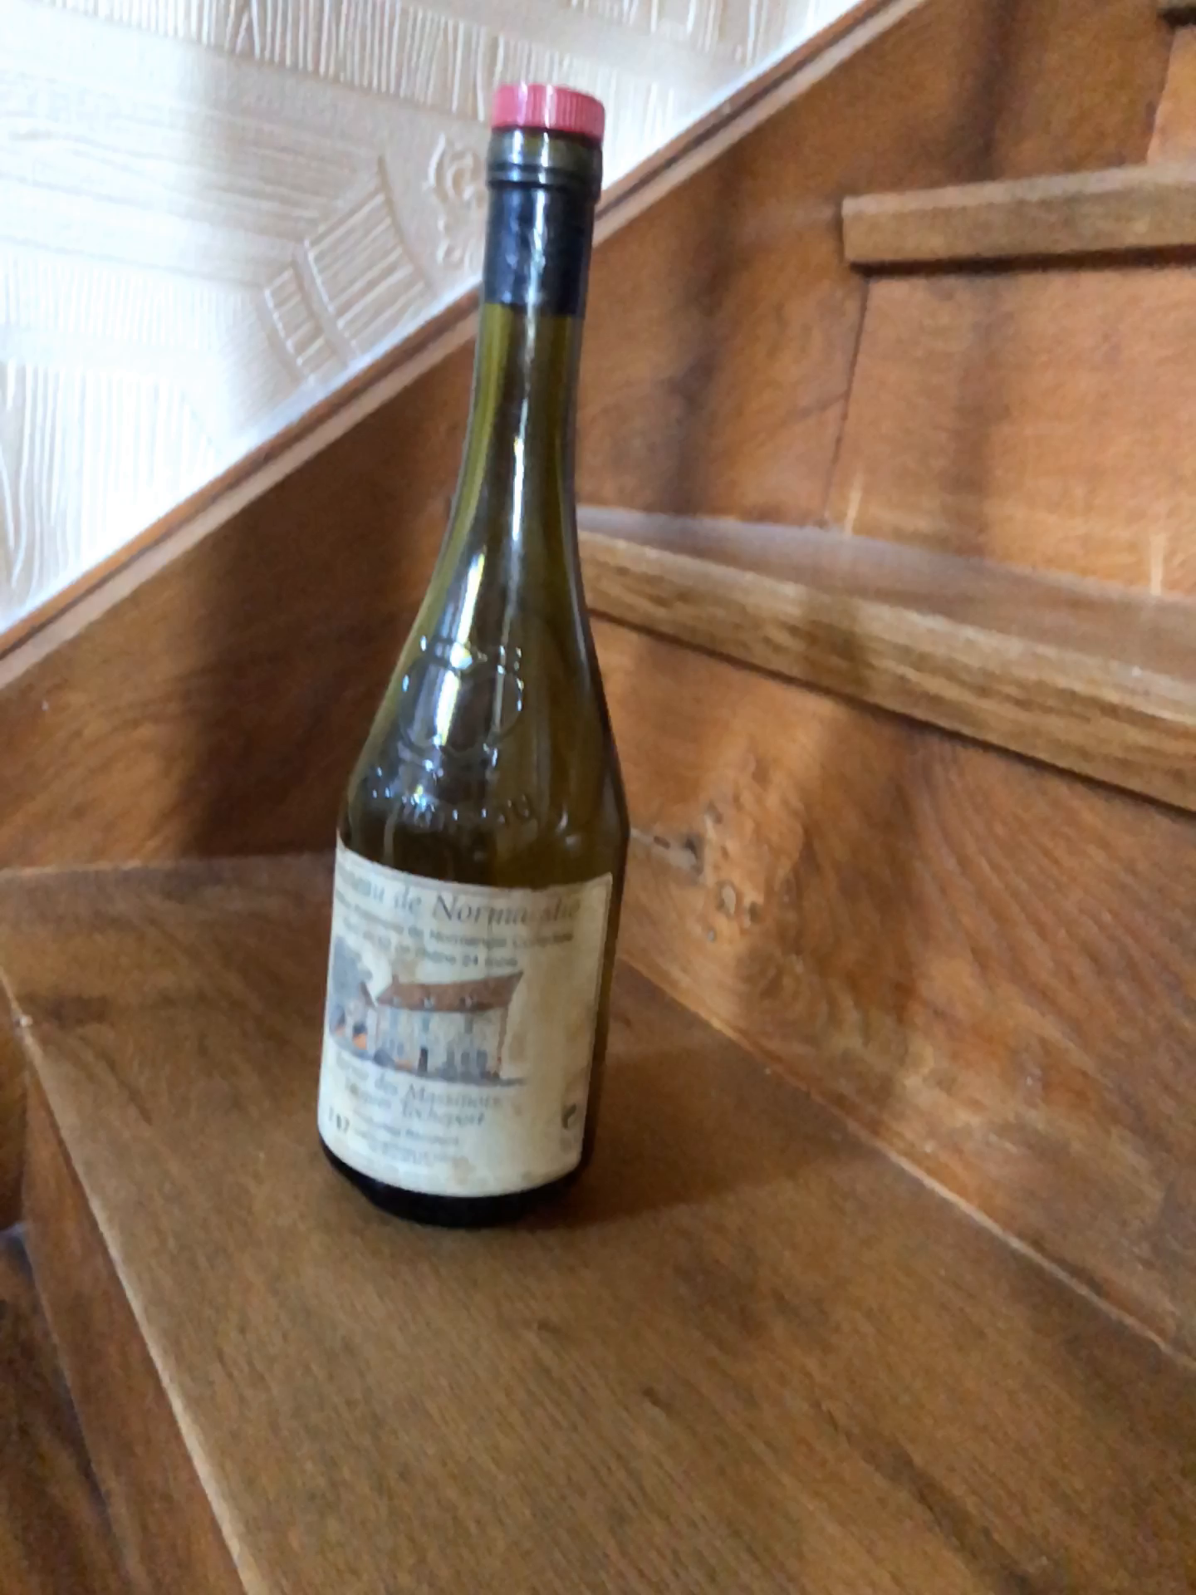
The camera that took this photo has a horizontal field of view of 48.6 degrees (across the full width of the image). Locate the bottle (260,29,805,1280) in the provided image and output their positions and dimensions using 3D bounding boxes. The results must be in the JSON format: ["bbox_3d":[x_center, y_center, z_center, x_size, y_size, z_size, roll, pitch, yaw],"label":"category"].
[{"bbox_3d":[-0.022,-0.035,0.381,0.090,0.309,0.090,7,14,-2],"label":"bottle"}]
